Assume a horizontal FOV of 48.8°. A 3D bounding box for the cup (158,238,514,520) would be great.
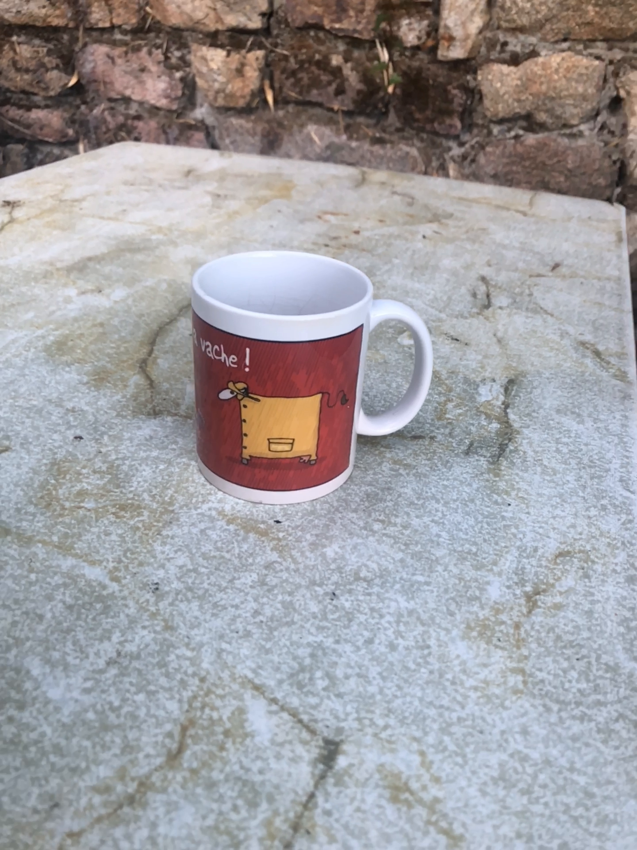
[{"bbox_3d":[0.001,-0.026,0.313,0.129,0.083,0.087,-6,34,-13],"label":"cup"}]
